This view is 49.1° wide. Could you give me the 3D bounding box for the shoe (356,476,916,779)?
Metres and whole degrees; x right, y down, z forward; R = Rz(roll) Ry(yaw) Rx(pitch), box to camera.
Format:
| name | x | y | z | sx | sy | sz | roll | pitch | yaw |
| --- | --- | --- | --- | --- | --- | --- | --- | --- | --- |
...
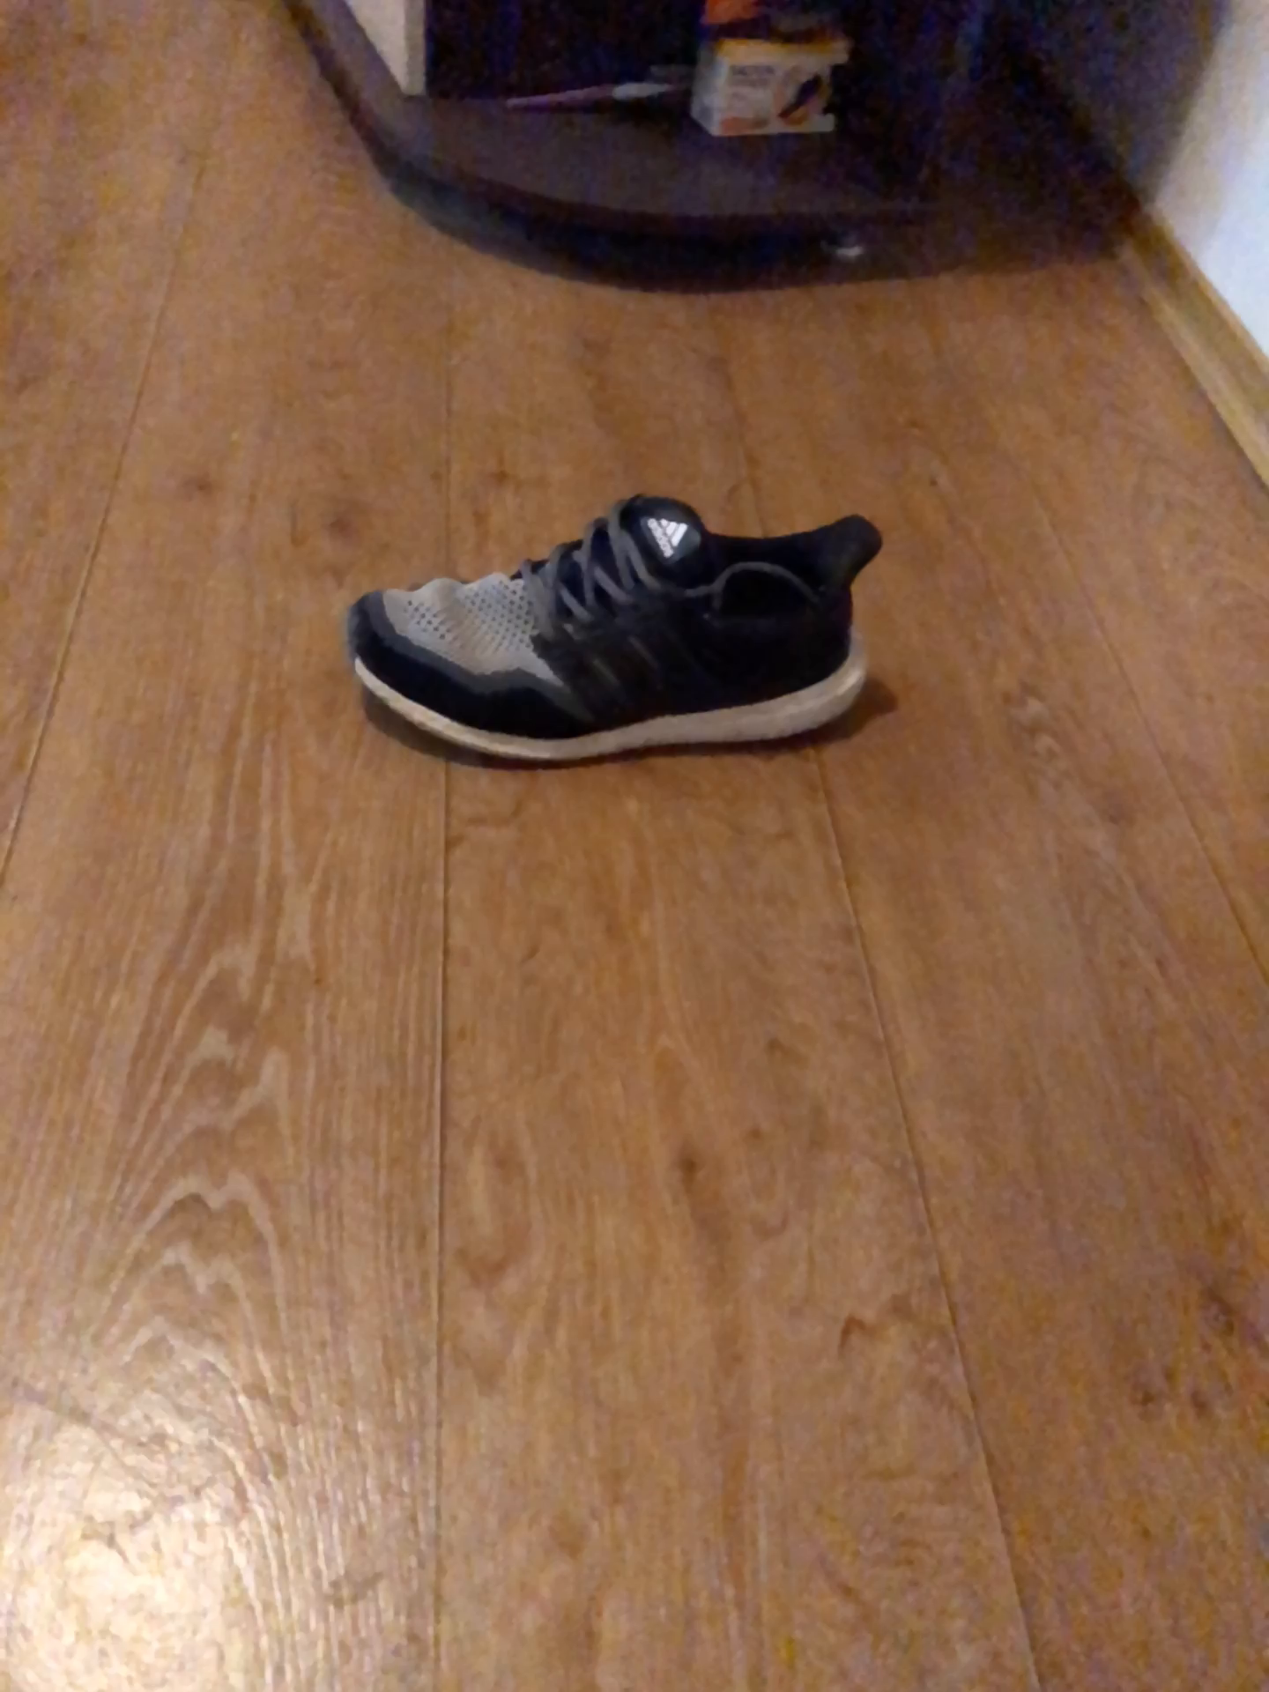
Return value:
| name | x | y | z | sx | sy | sz | roll | pitch | yaw |
| --- | --- | --- | --- | --- | --- | --- | --- | --- | --- |
| shoe | -0.006 | -0.114 | 0.736 | 0.270 | 0.099 | 0.114 | 1 | 48 | -8 |
